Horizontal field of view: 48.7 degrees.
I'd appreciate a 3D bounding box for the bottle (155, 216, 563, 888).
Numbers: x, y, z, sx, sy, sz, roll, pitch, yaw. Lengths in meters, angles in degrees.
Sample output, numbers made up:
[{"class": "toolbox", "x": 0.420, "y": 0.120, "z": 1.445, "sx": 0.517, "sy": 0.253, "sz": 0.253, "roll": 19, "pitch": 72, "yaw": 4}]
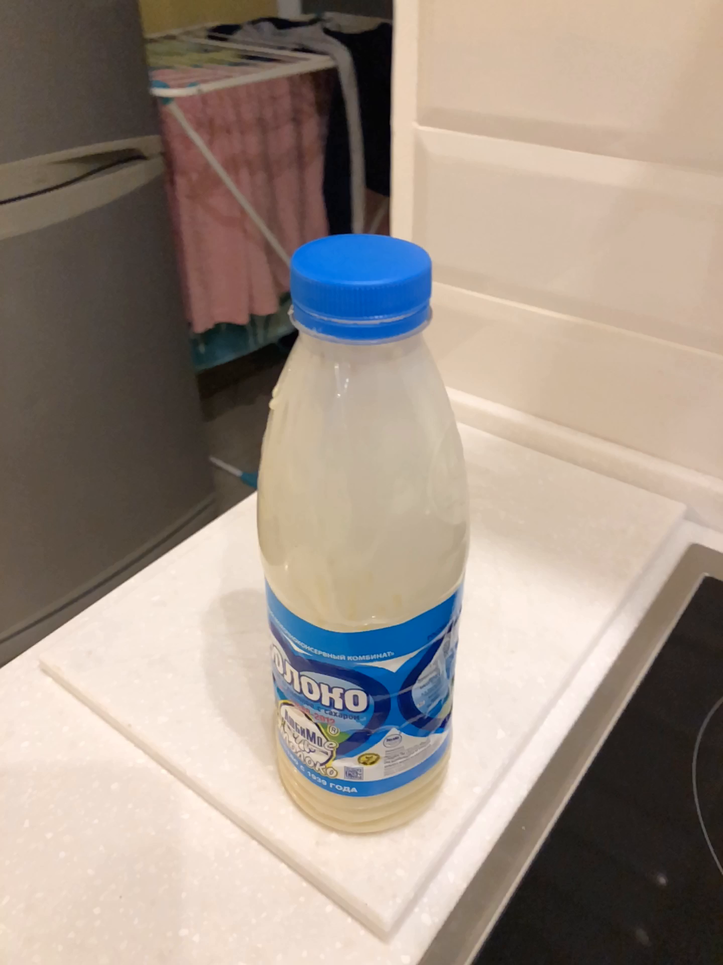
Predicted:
[{"class": "bottle", "x": 0.001, "y": 0.031, "z": 0.282, "sx": 0.080, "sy": 0.213, "sz": 0.080, "roll": 0, "pitch": 35, "yaw": 0}]
